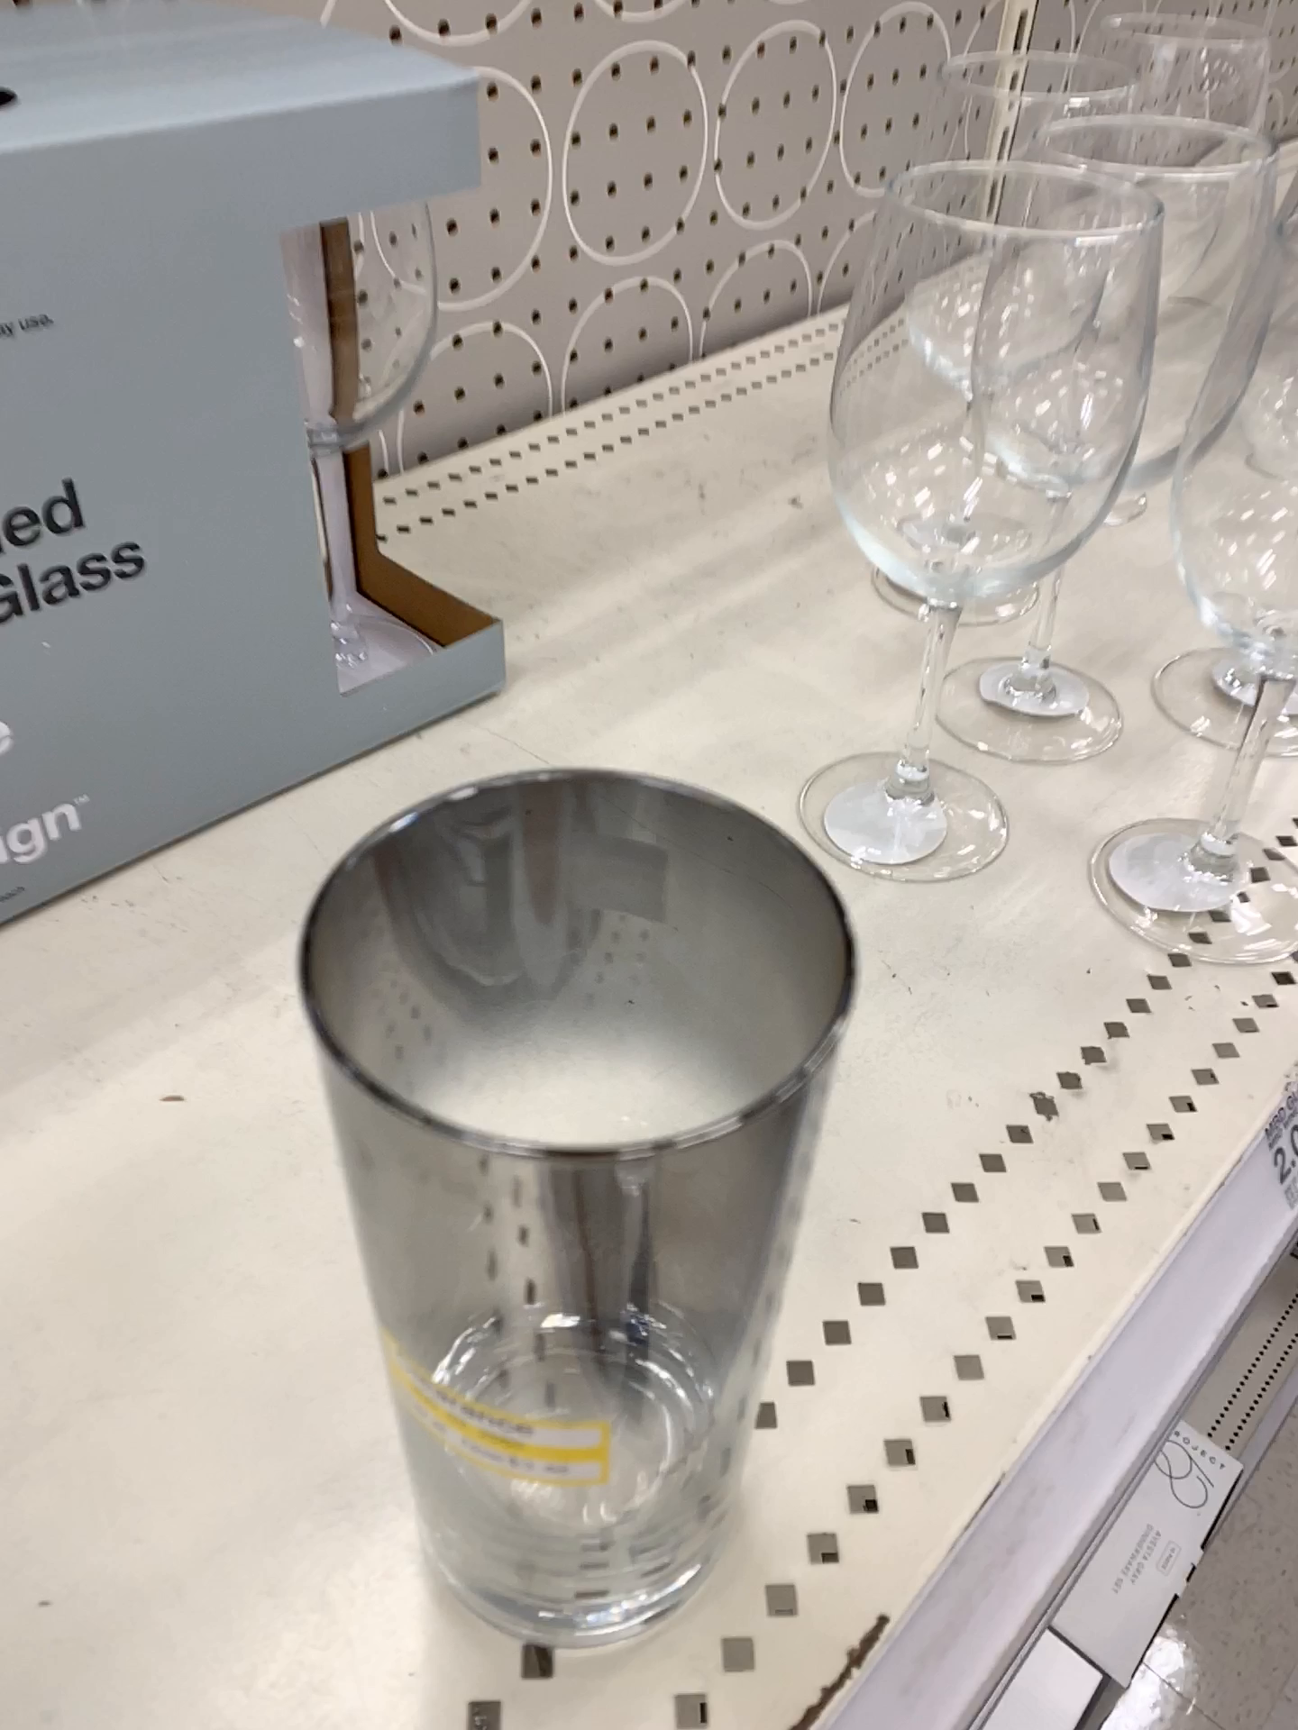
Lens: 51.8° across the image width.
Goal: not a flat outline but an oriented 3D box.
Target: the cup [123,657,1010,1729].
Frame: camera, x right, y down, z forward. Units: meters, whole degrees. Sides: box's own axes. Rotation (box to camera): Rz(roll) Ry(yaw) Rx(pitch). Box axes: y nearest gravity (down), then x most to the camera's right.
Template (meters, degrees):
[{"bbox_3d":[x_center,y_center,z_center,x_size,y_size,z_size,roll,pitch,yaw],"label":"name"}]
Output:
[{"bbox_3d":[-0.007,0.060,0.206,0.080,0.149,0.080,2,41,-2],"label":"cup"}]
